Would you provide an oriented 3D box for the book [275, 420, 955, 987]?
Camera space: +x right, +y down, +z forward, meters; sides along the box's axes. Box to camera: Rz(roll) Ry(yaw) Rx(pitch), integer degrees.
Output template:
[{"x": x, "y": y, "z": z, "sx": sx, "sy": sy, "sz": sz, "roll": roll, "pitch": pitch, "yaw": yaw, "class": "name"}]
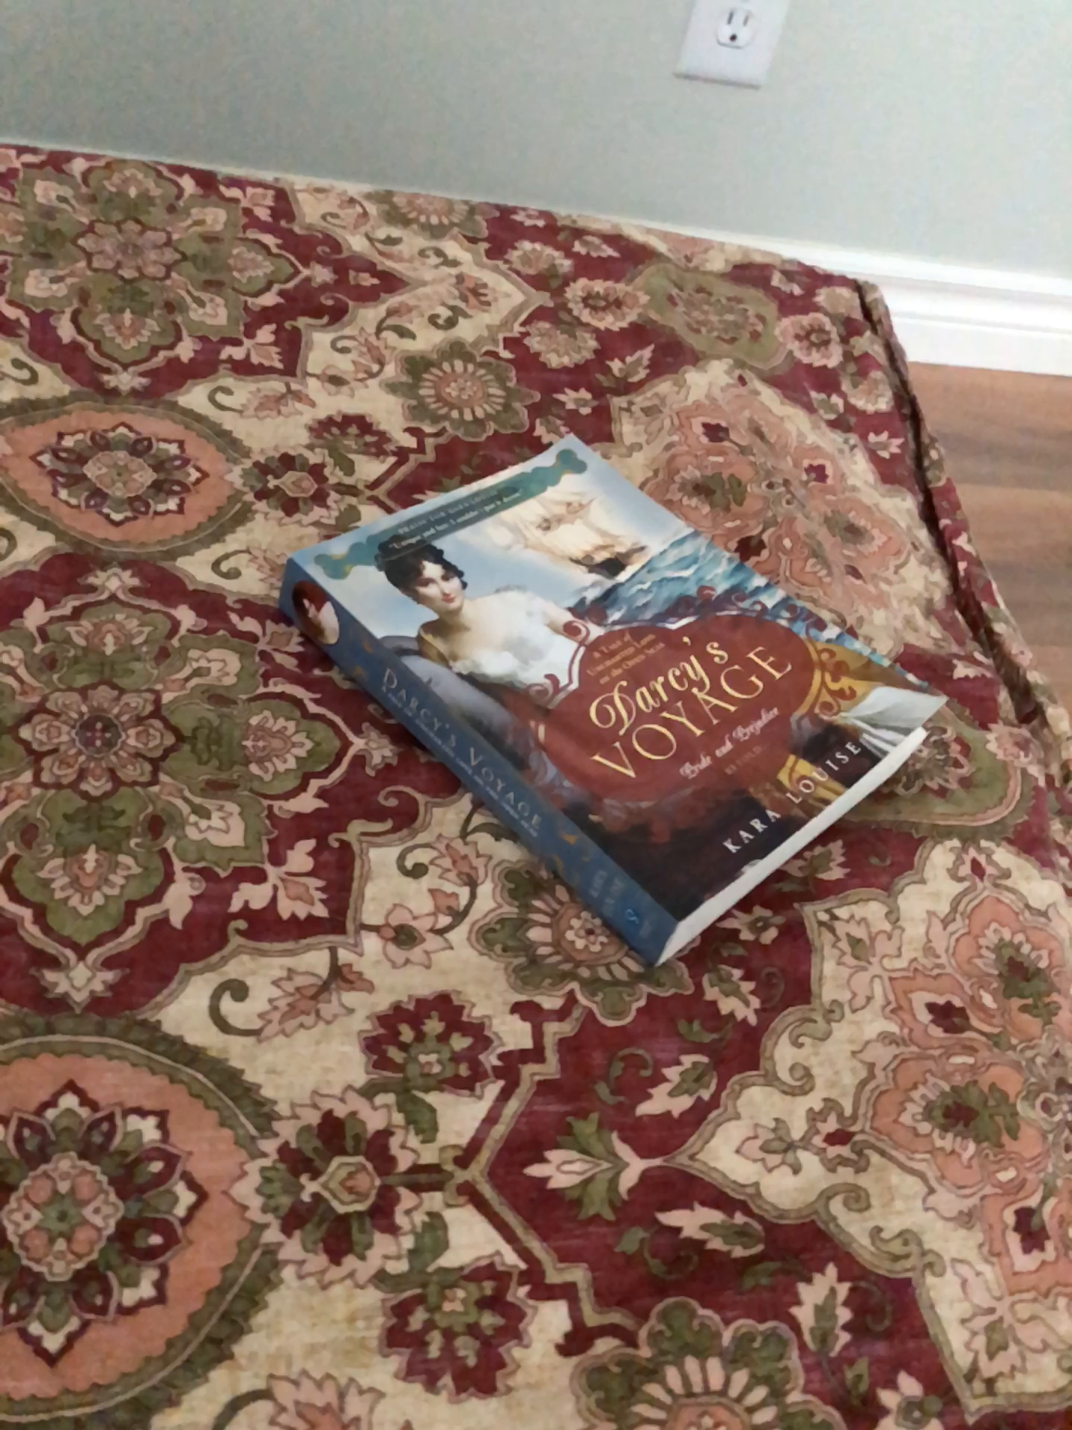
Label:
[{"x": 0.028, "y": -0.021, "z": 0.438, "sx": 0.155, "sy": 0.034, "sz": 0.200, "roll": -30, "pitch": 62, "yaw": -36, "class": "book"}]
